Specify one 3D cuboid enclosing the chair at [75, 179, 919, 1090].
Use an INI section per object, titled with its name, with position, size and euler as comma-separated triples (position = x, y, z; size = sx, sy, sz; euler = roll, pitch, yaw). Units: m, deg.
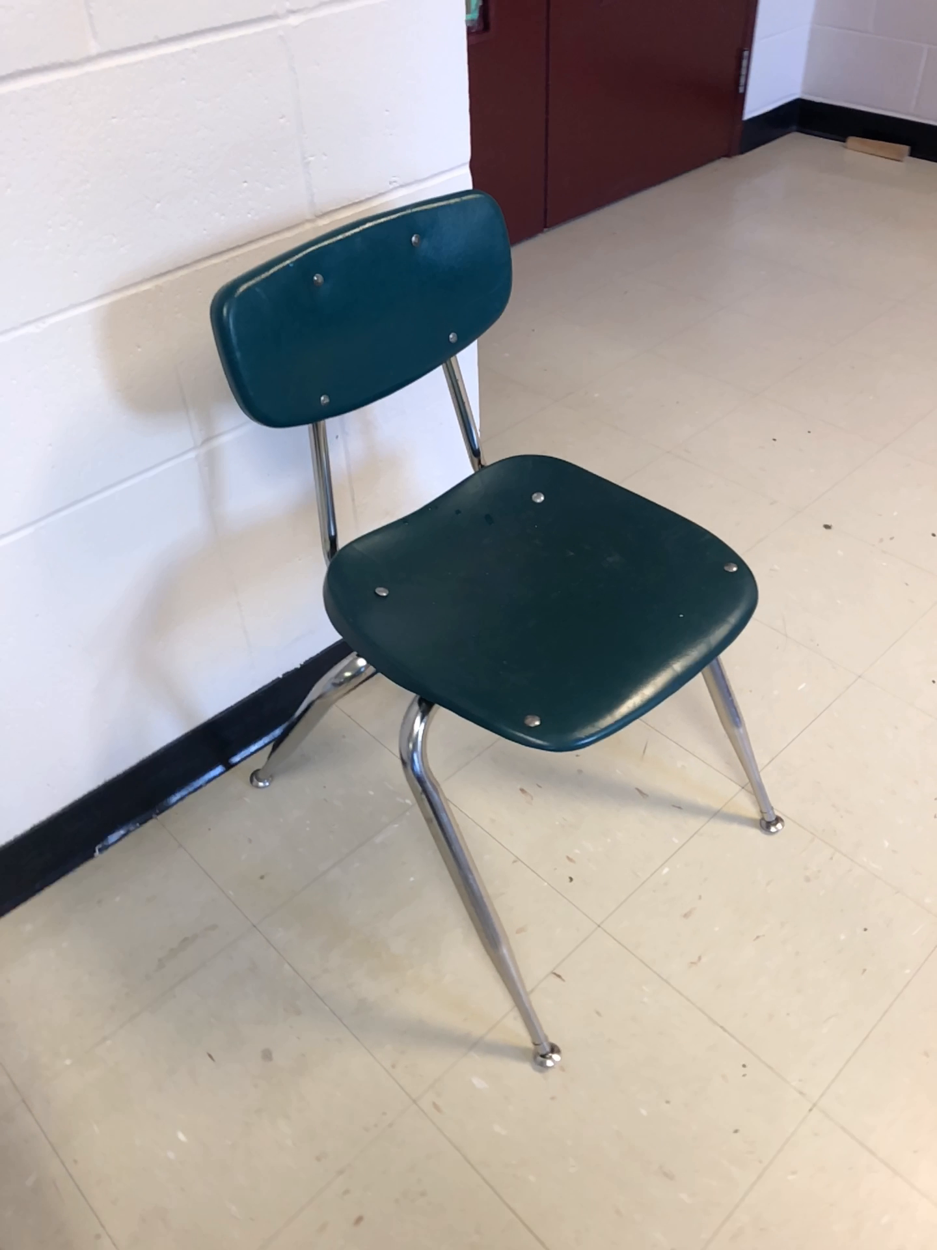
[chair]
position = 0.027, -0.014, 1.147
size = 0.482, 0.695, 0.592
euler = -35, 50, -30
